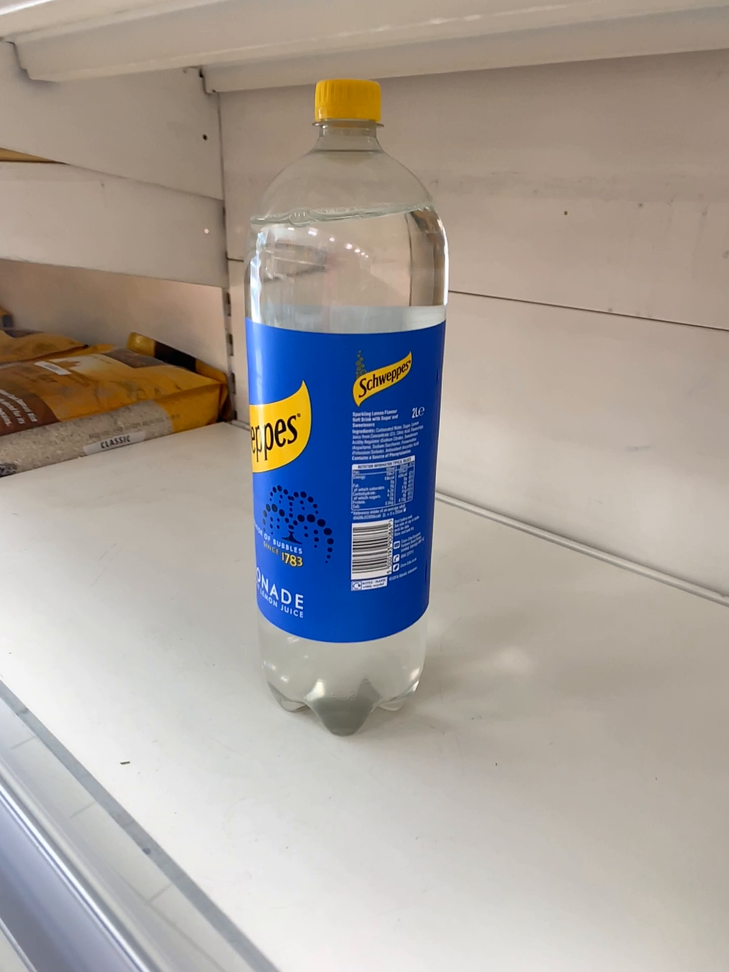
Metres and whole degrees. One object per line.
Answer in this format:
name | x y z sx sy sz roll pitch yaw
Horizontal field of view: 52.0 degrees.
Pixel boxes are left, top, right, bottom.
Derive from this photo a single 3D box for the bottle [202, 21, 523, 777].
bottle | -0.010 -0.032 0.378 0.110 0.327 0.111 1 22 0
